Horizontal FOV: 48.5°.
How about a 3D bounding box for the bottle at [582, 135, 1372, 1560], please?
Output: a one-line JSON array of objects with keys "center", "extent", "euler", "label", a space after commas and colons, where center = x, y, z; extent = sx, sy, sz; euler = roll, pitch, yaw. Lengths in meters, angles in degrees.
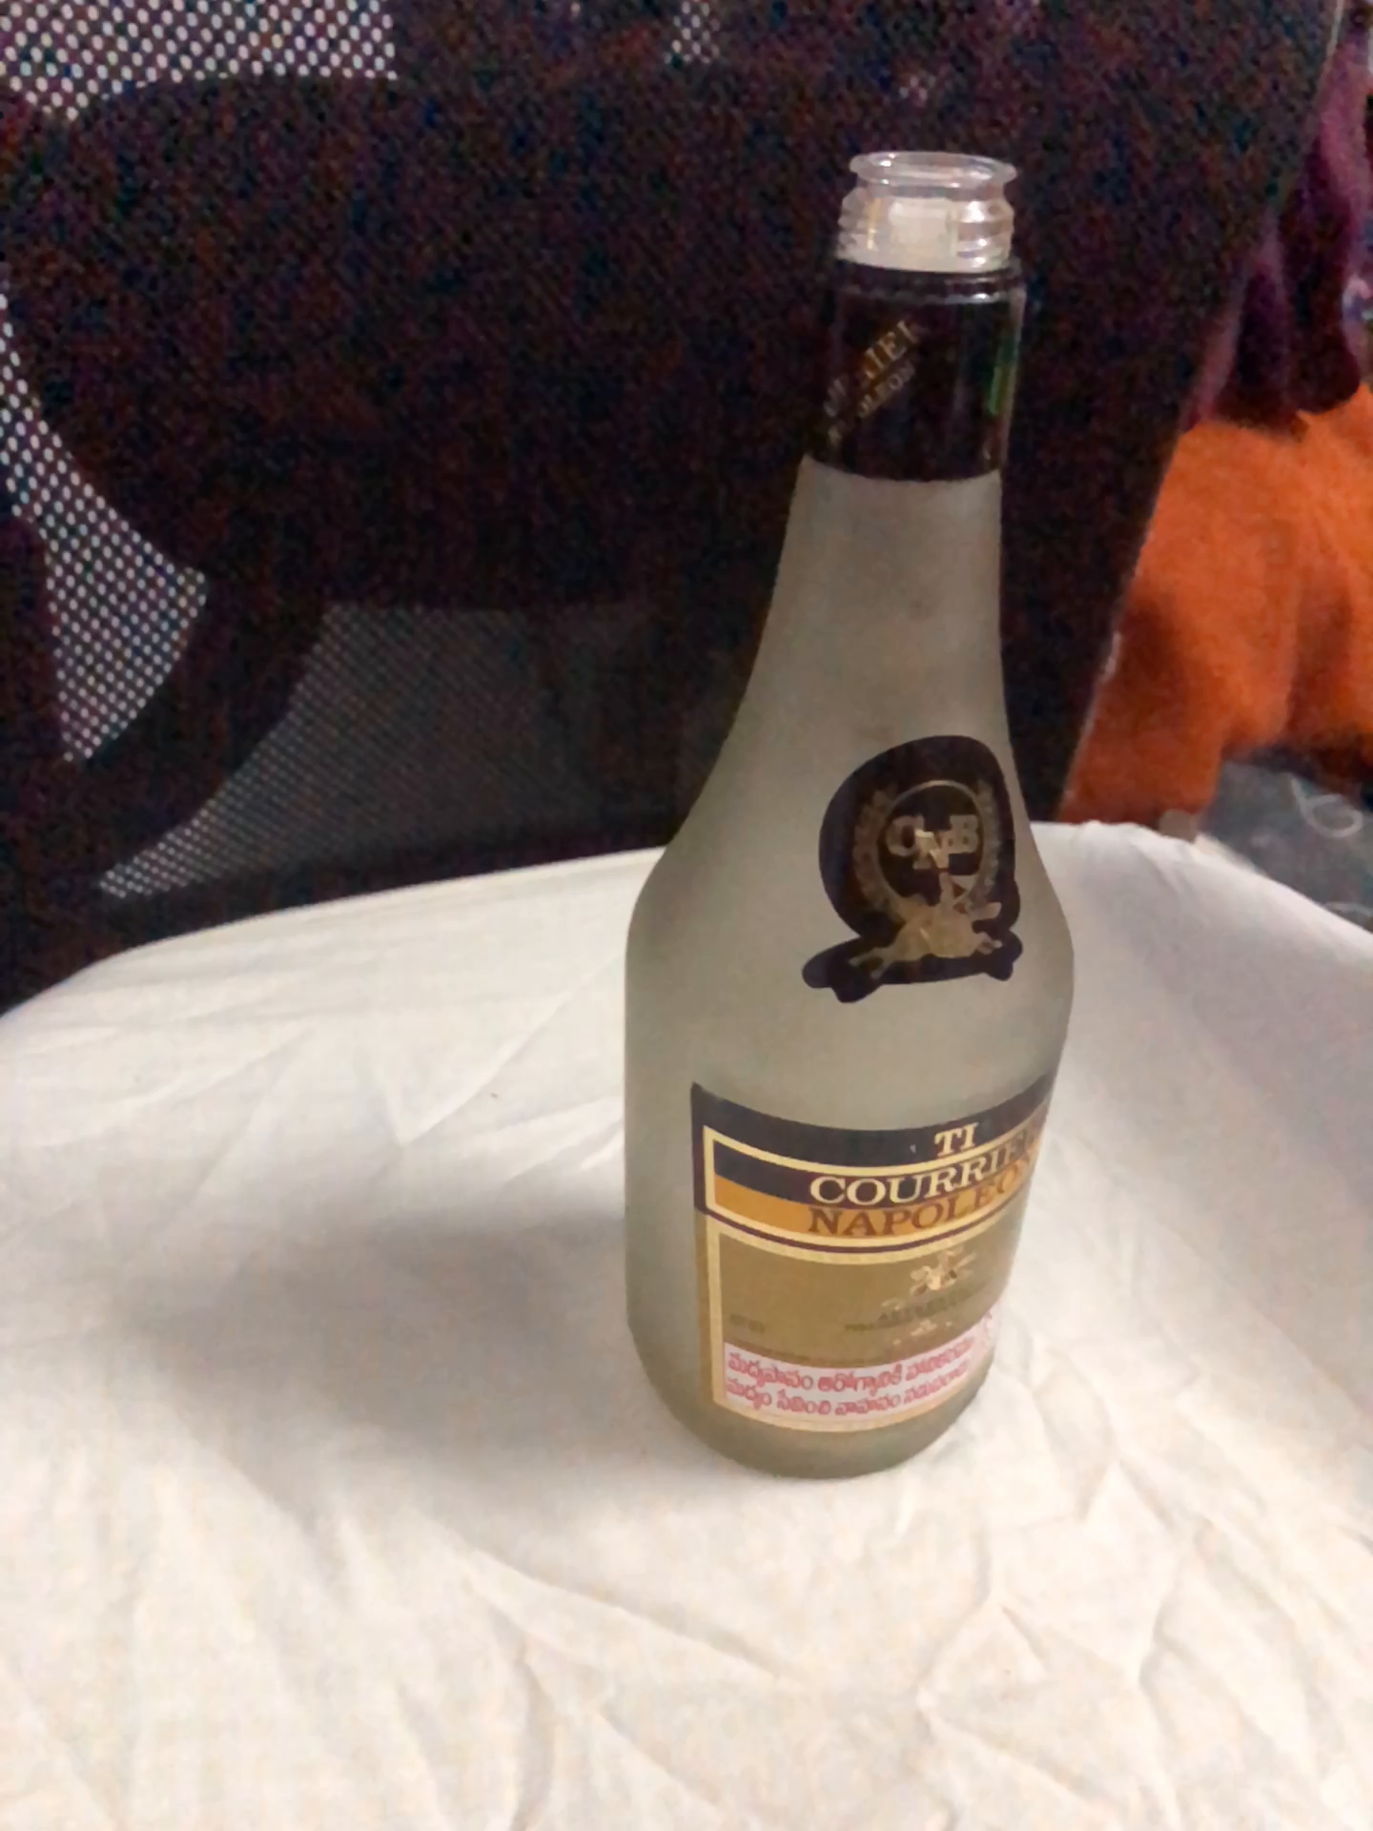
[{"center": [0.041, -0.002, 0.278], "extent": [0.090, 0.239, 0.080], "euler": [-10, 36, -21], "label": "bottle"}]
